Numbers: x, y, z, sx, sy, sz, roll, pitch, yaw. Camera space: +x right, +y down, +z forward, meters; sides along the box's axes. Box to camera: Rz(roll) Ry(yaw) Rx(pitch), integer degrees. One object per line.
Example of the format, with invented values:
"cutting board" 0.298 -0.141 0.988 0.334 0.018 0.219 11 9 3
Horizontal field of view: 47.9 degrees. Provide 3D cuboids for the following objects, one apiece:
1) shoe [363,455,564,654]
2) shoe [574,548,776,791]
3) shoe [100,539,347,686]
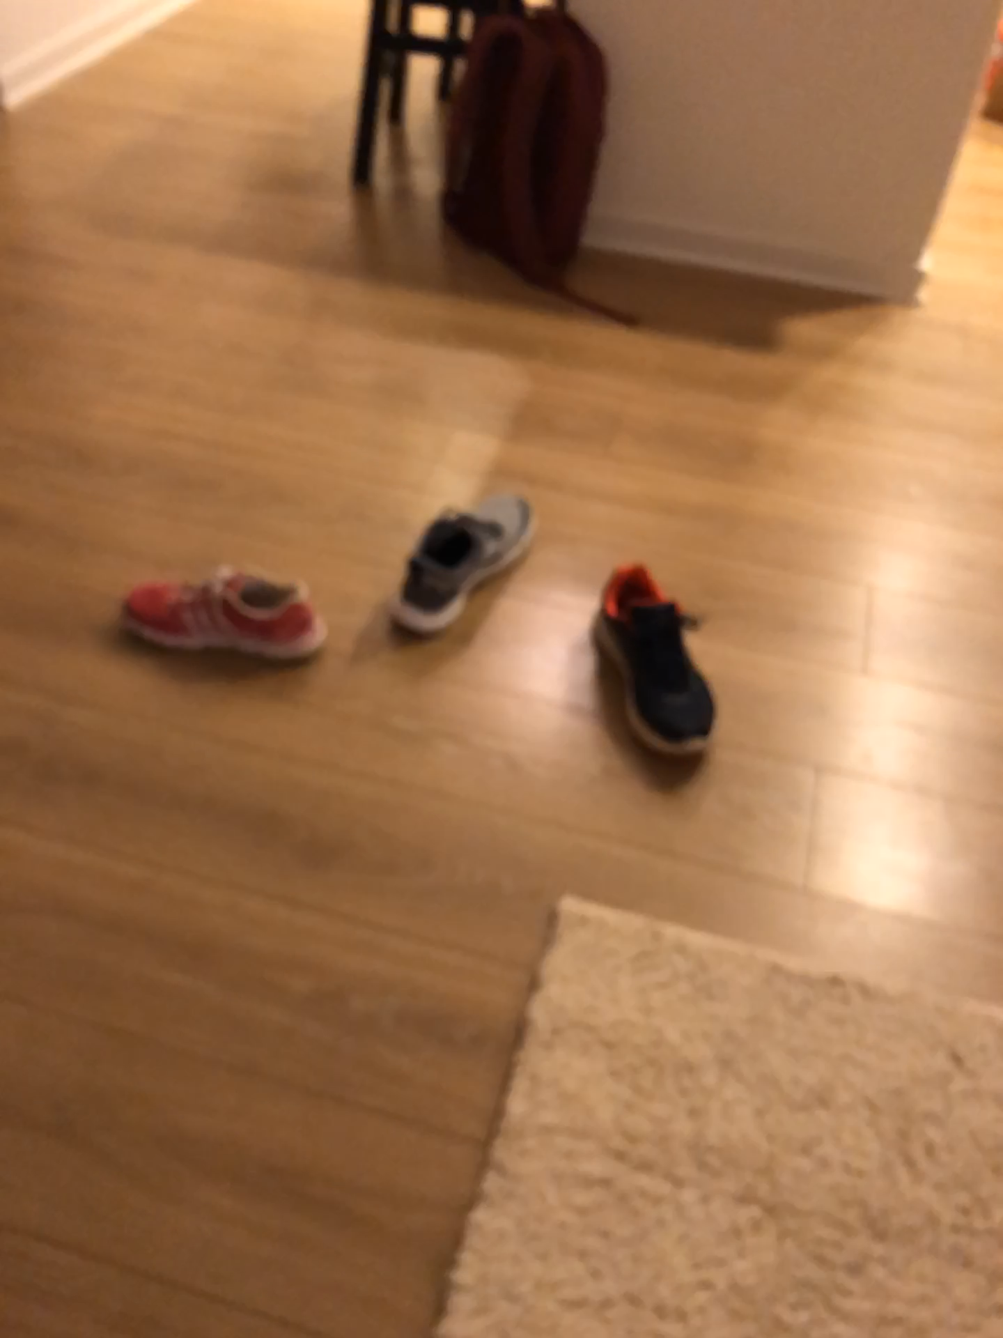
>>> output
"shoe" -0.047 -0.169 1.588 0.130 0.080 0.322 24 48 19
"shoe" 0.213 -0.008 1.462 0.130 0.099 0.321 -11 47 -14
"shoe" -0.361 -0.076 1.494 0.280 0.090 0.131 9 45 5
